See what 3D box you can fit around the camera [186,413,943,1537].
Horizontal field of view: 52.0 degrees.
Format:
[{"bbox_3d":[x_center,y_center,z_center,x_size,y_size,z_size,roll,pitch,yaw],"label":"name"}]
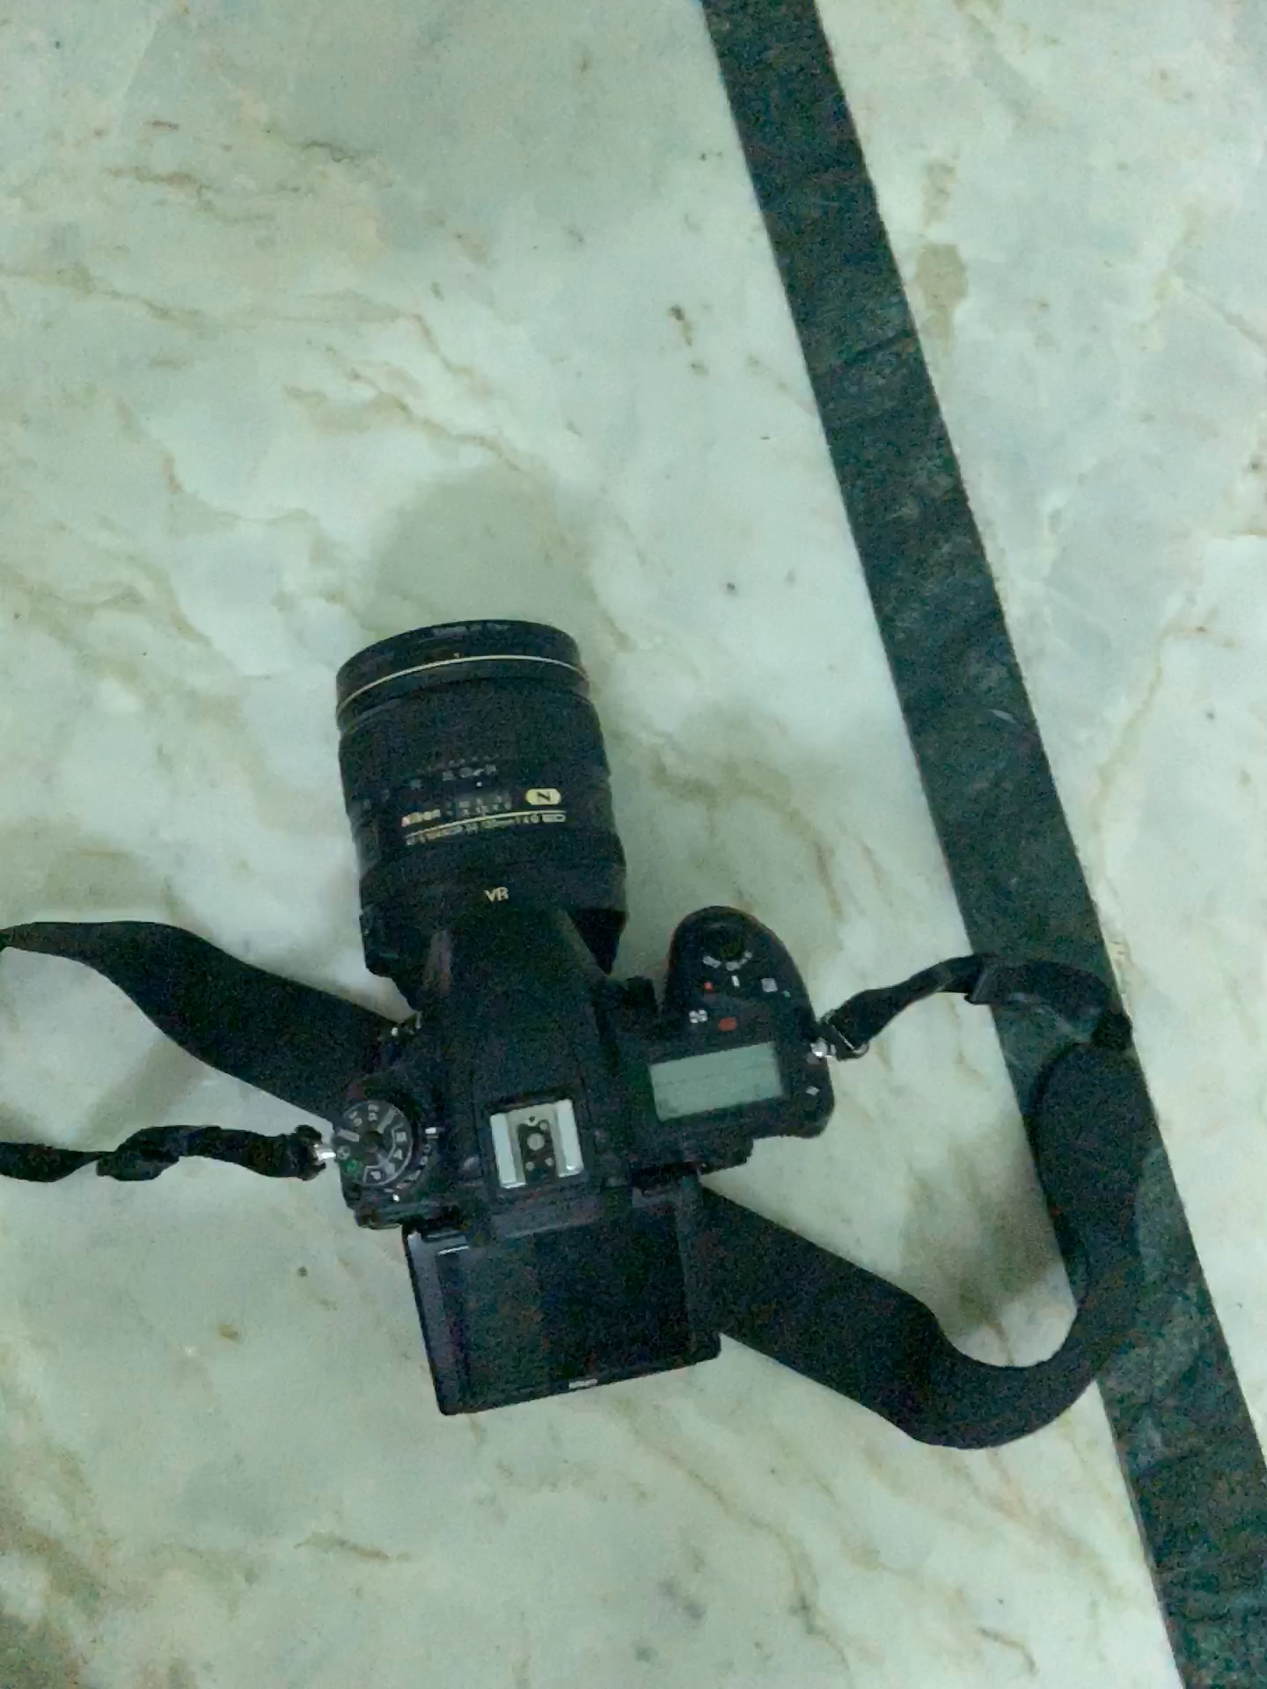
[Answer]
[{"bbox_3d":[-0.025,0.029,0.371,0.146,0.100,0.258,-9,79,-6],"label":"camera"}]
